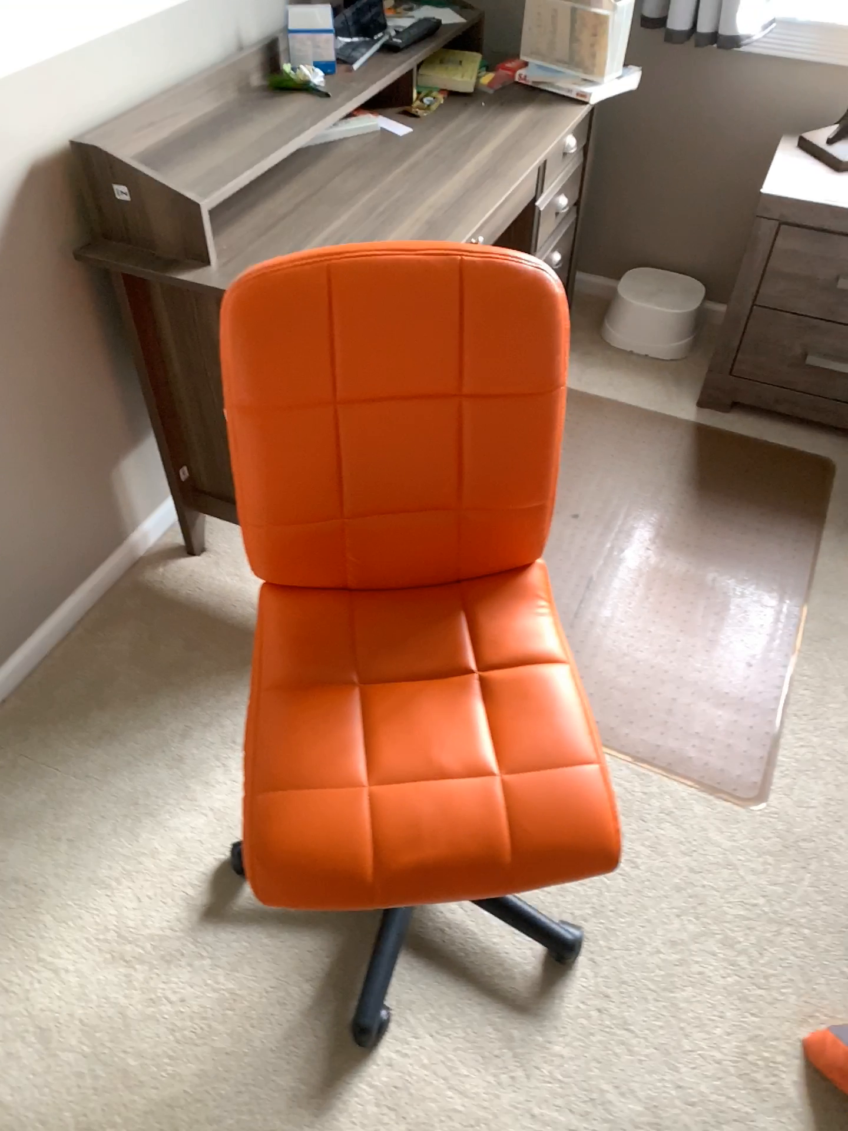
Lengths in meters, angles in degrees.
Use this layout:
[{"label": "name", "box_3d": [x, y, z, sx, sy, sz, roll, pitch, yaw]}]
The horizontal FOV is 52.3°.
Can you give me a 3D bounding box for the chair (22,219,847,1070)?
[{"label": "chair", "box_3d": [-0.004, 0.140, 1.123, 0.613, 0.902, 0.621, -5, 46, -6]}]
